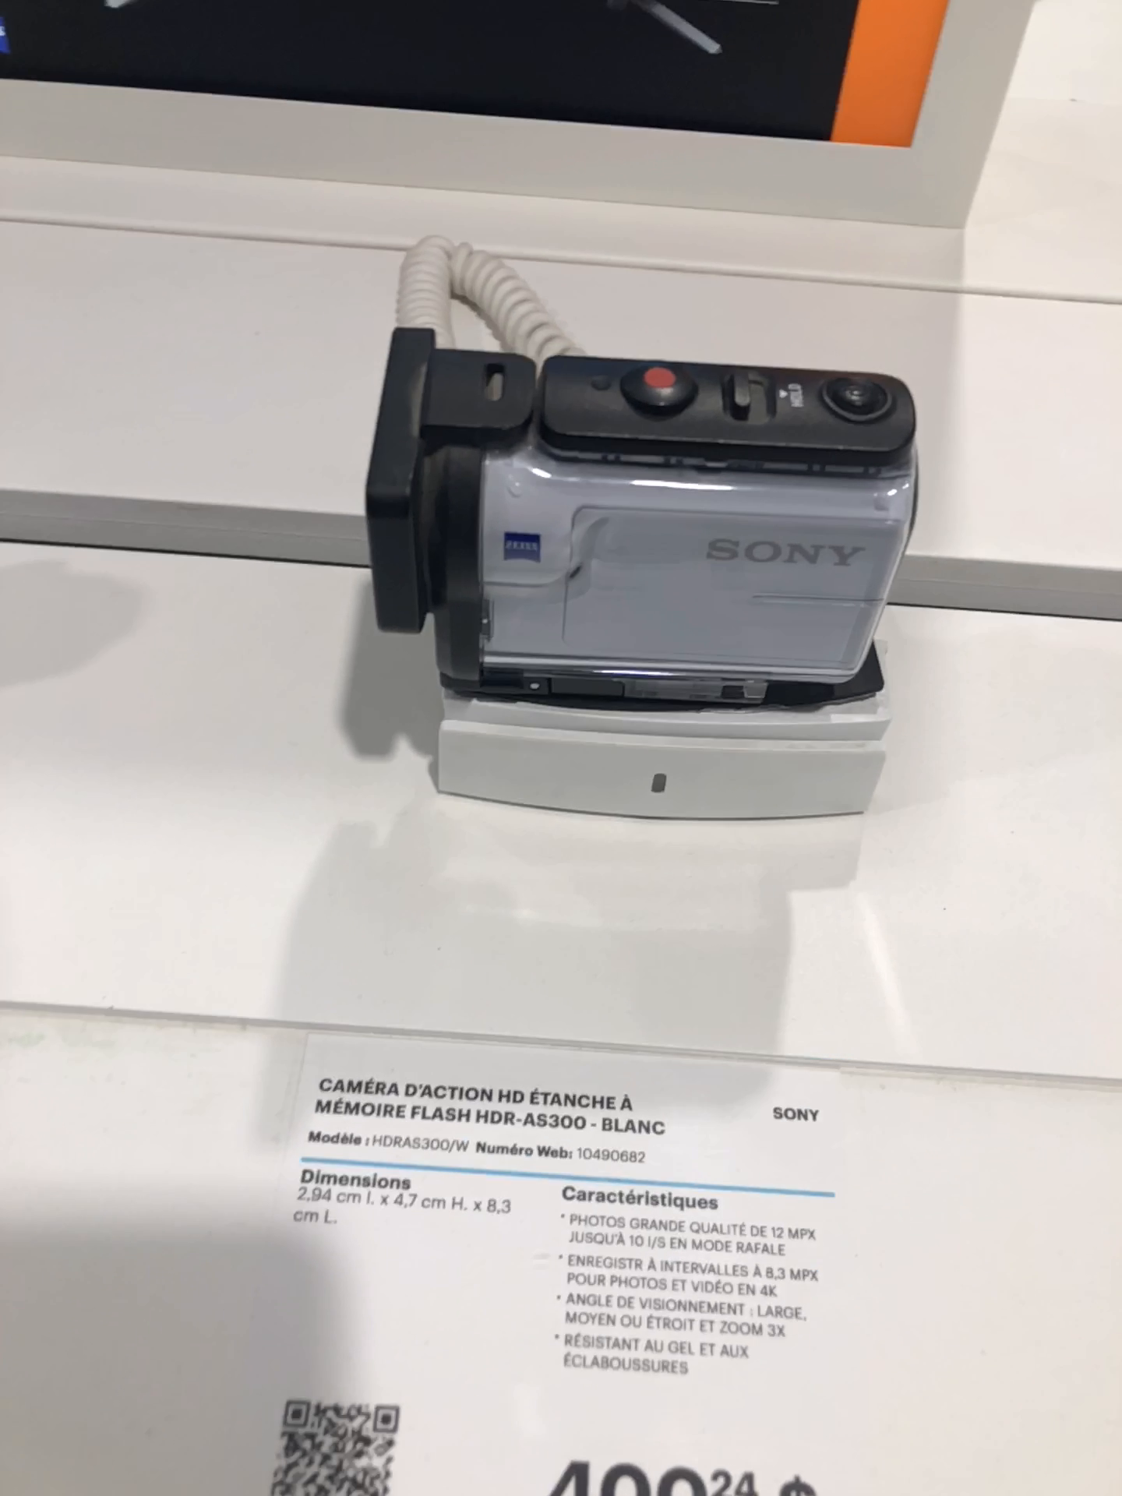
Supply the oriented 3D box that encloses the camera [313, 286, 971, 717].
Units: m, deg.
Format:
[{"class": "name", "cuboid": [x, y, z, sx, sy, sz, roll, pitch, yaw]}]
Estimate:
[{"class": "camera", "cuboid": [0.011, -0.041, 0.208, 0.092, 0.044, 0.050, 3, 49, 0]}]
